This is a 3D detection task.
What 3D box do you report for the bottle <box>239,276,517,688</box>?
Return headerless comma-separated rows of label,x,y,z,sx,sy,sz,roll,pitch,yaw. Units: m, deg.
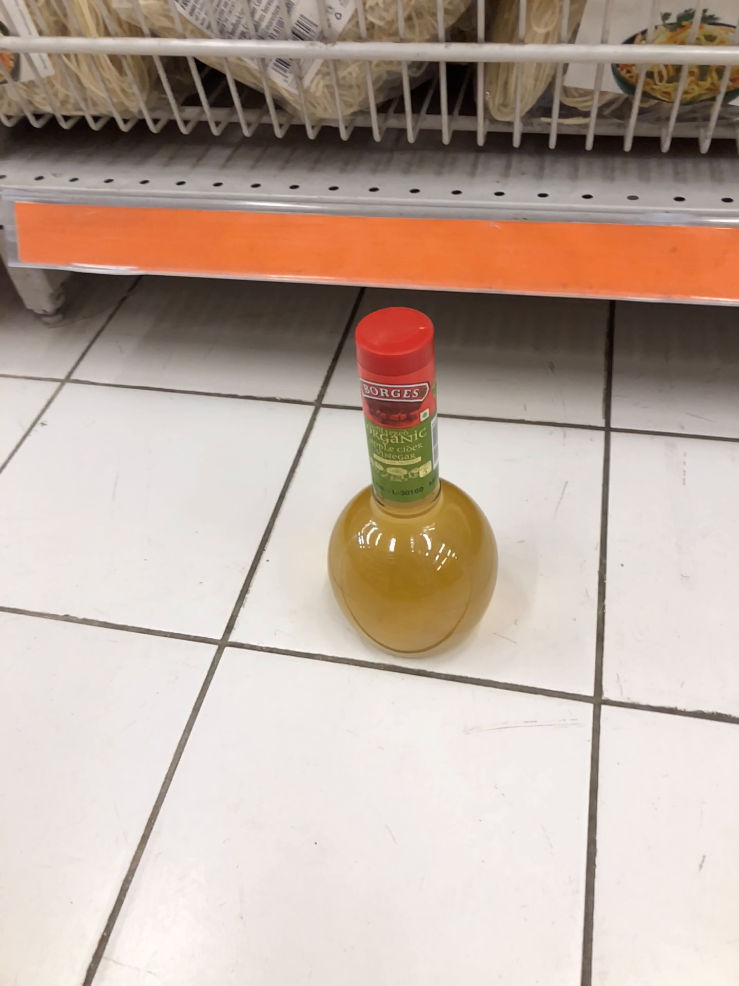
bottle,0.015,0.000,0.382,0.090,0.169,0.091,-4,46,4
